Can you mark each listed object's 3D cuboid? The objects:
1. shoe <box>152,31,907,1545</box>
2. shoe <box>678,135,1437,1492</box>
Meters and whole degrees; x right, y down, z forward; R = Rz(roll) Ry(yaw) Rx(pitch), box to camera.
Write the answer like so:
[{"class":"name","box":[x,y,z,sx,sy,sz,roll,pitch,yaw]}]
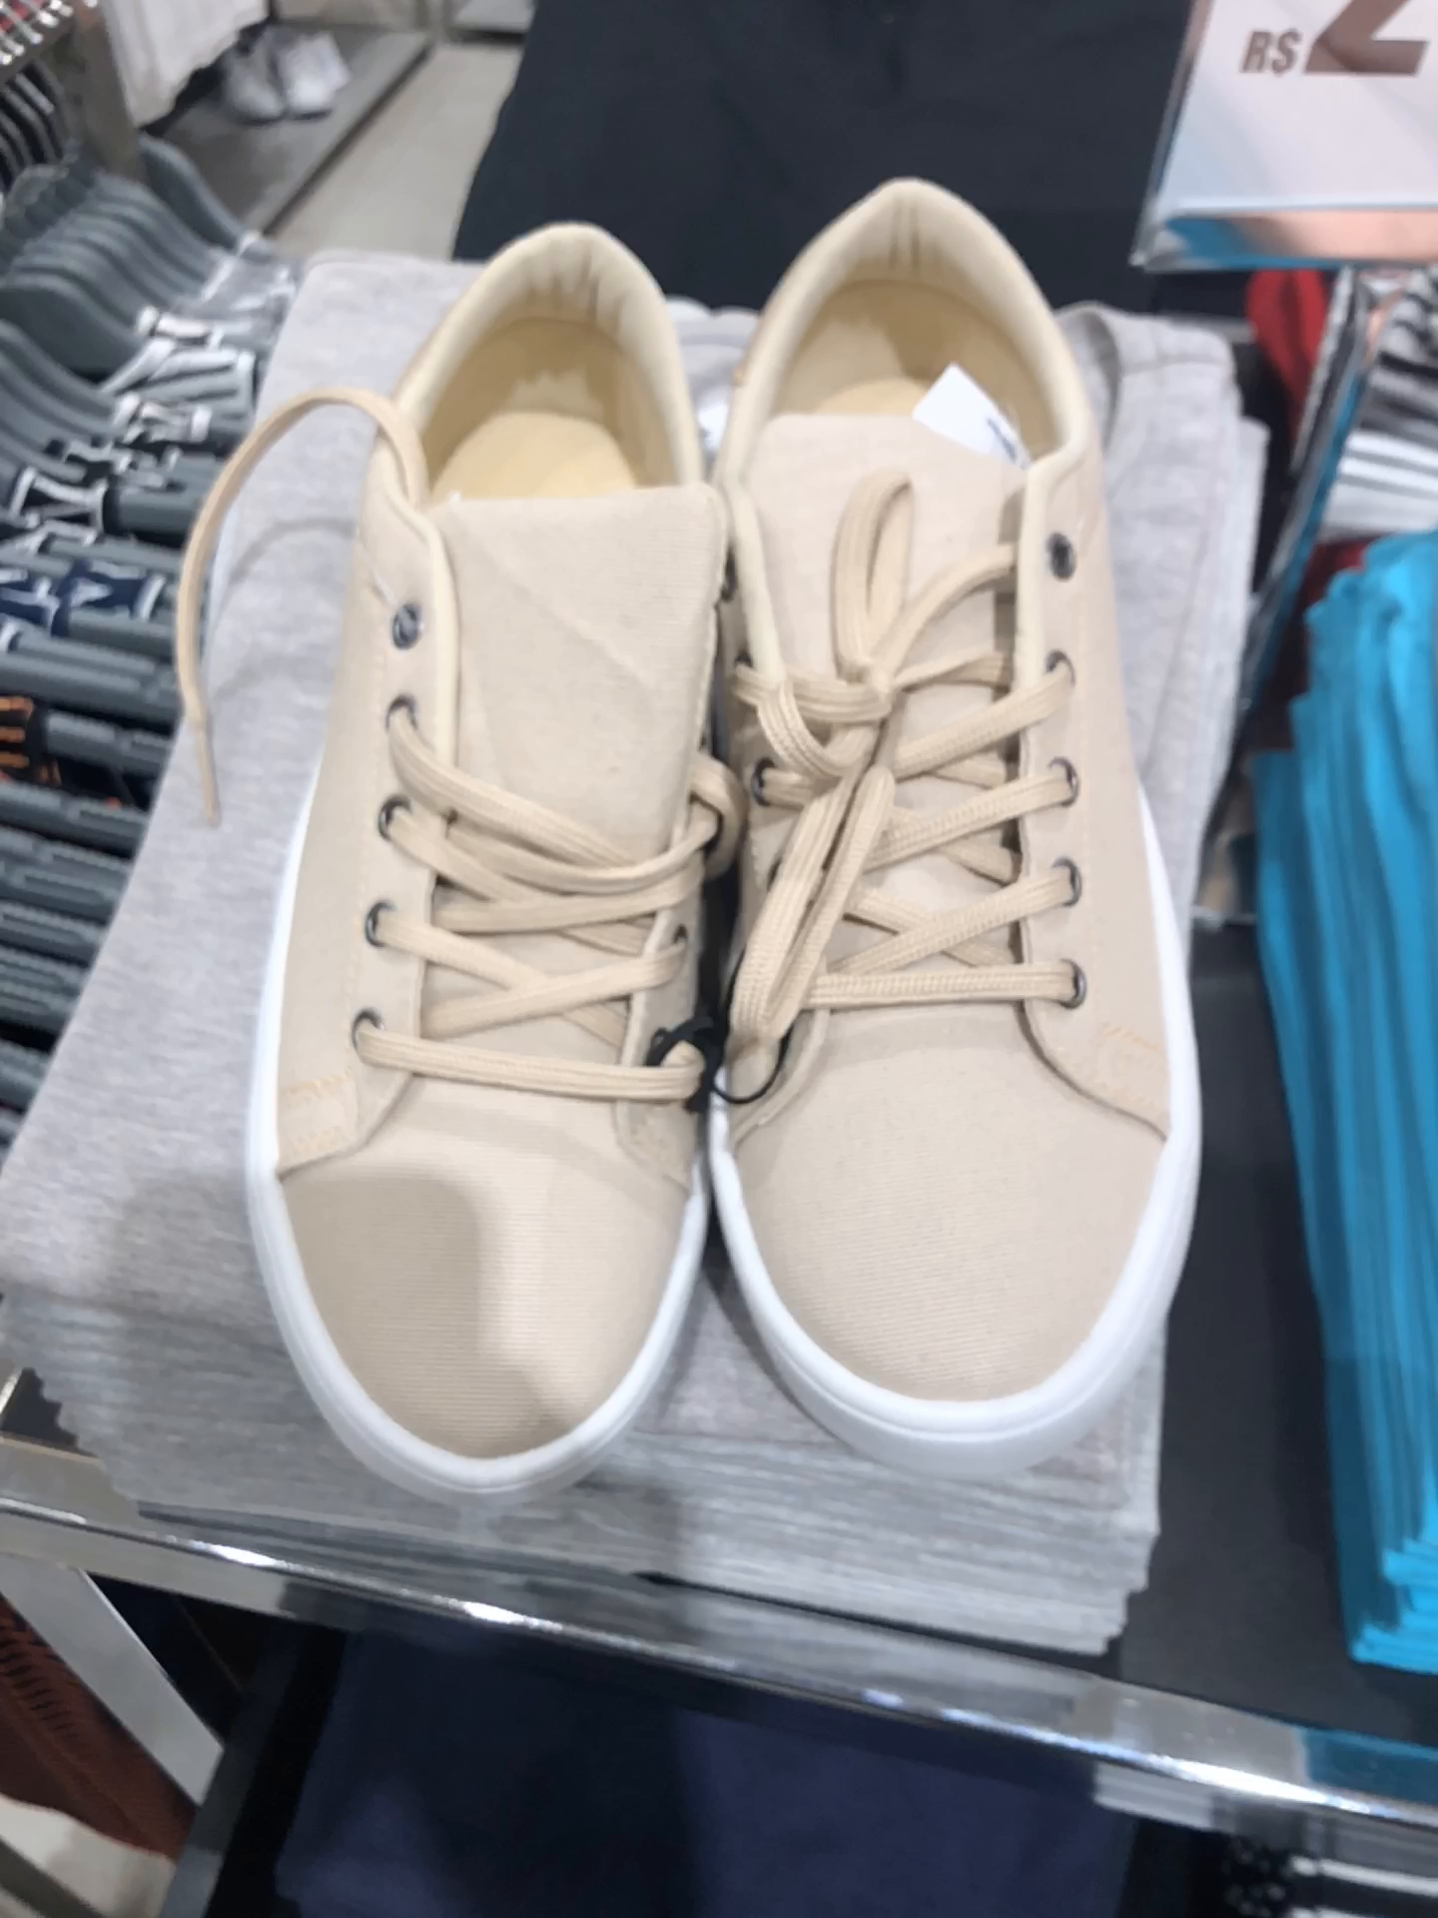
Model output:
[{"class":"shoe","box":[-0.025,-0.038,0.329,0.100,0.109,0.281,7,64,-6]},{"class":"shoe","box":[0.053,-0.050,0.346,0.110,0.109,0.292,0,53,1]}]
